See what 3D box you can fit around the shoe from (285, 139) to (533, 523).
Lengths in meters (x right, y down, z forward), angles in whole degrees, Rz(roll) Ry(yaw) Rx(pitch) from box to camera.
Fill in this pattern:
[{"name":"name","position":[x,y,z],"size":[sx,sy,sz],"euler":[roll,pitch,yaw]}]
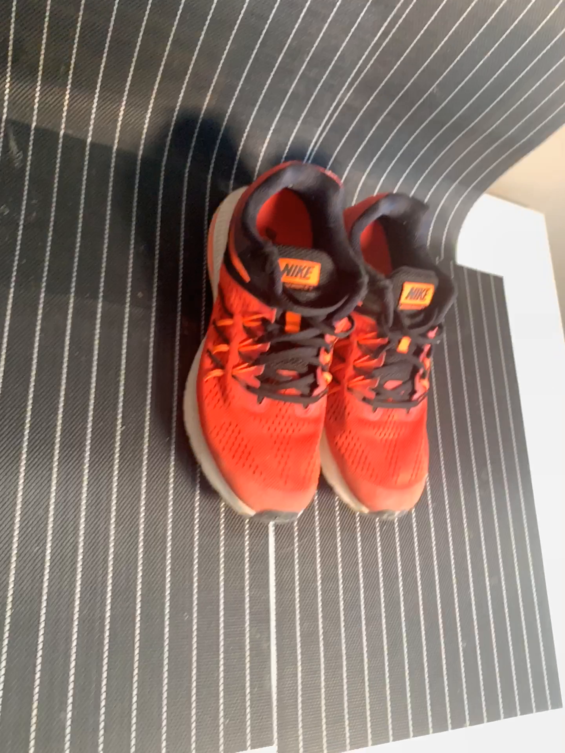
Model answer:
[{"name":"shoe","position":[0.091,-0.027,0.469],"size":[0.120,0.110,0.270],"euler":[4,73,-28]}]

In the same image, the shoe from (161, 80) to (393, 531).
[{"name":"shoe","position":[-0.011,-0.042,0.436],"size":[0.120,0.110,0.300],"euler":[8,71,-27]}]
